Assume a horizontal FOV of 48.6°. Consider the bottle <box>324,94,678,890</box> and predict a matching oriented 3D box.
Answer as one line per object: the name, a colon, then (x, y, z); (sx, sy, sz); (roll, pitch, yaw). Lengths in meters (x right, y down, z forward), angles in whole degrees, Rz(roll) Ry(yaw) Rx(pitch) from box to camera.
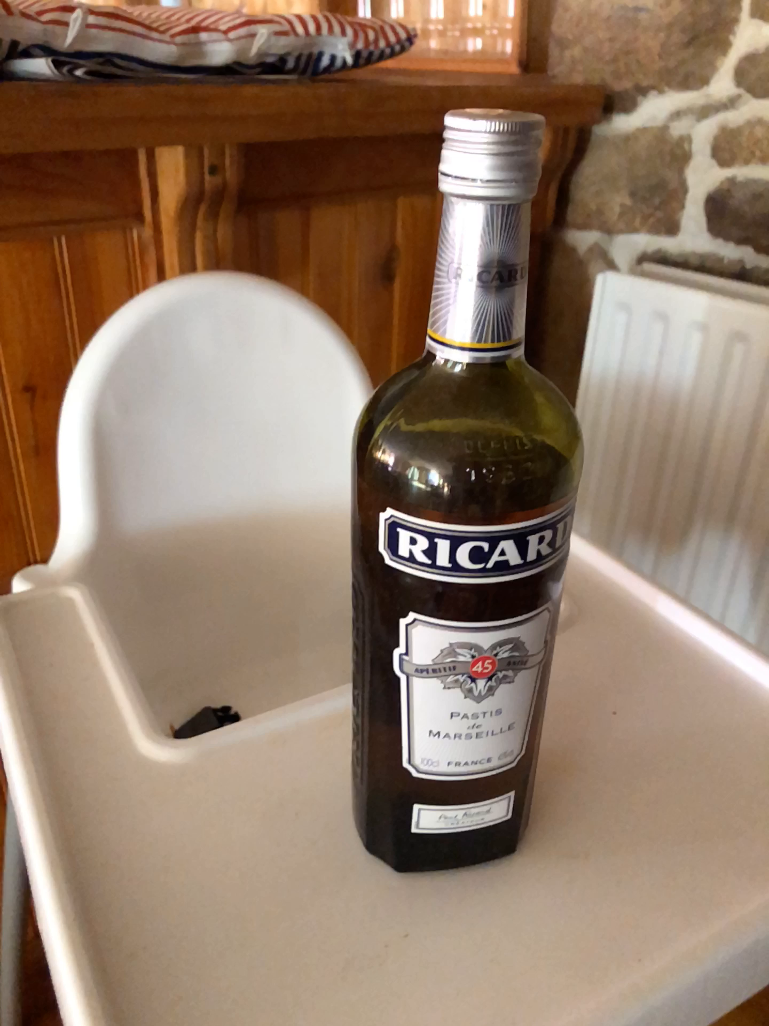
bottle: (0.027, 0.007, 0.329); (0.090, 0.298, 0.070); (-4, 28, -11)
